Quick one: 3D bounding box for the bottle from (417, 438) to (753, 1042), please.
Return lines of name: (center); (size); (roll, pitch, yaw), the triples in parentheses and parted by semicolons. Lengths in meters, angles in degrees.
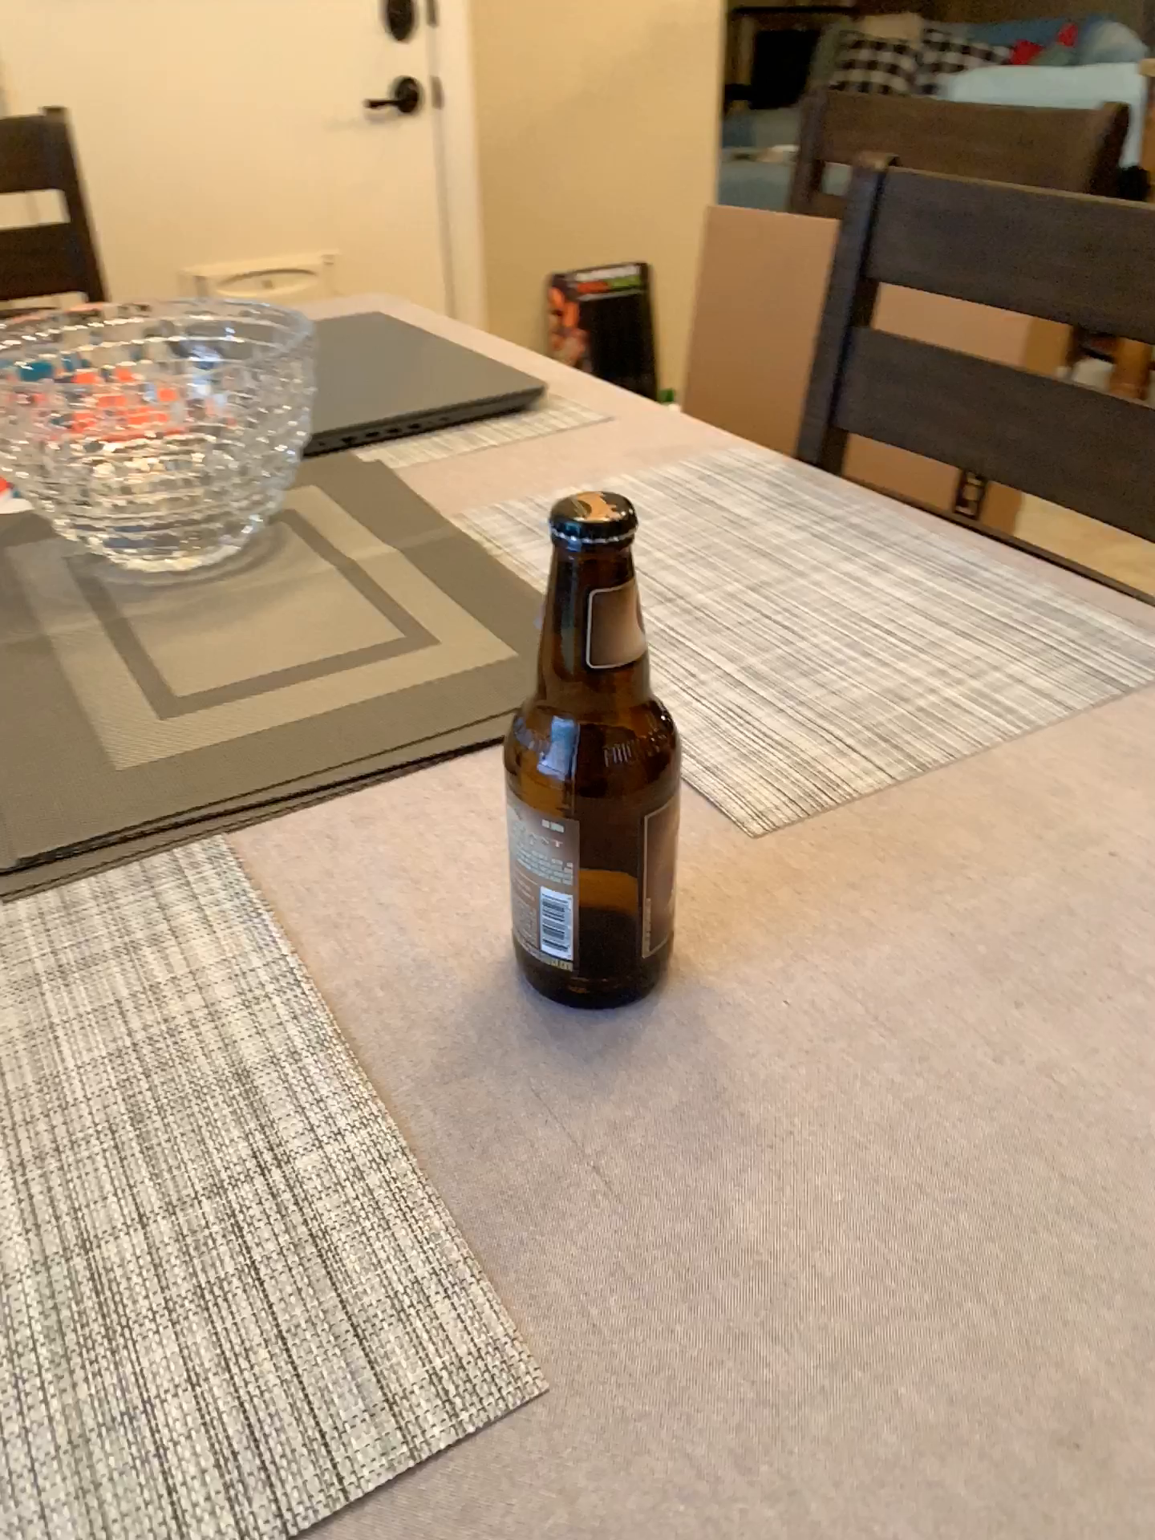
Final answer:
bottle: (0.001, -0.009, 0.427); (0.080, 0.189, 0.080); (-1, 33, 0)
